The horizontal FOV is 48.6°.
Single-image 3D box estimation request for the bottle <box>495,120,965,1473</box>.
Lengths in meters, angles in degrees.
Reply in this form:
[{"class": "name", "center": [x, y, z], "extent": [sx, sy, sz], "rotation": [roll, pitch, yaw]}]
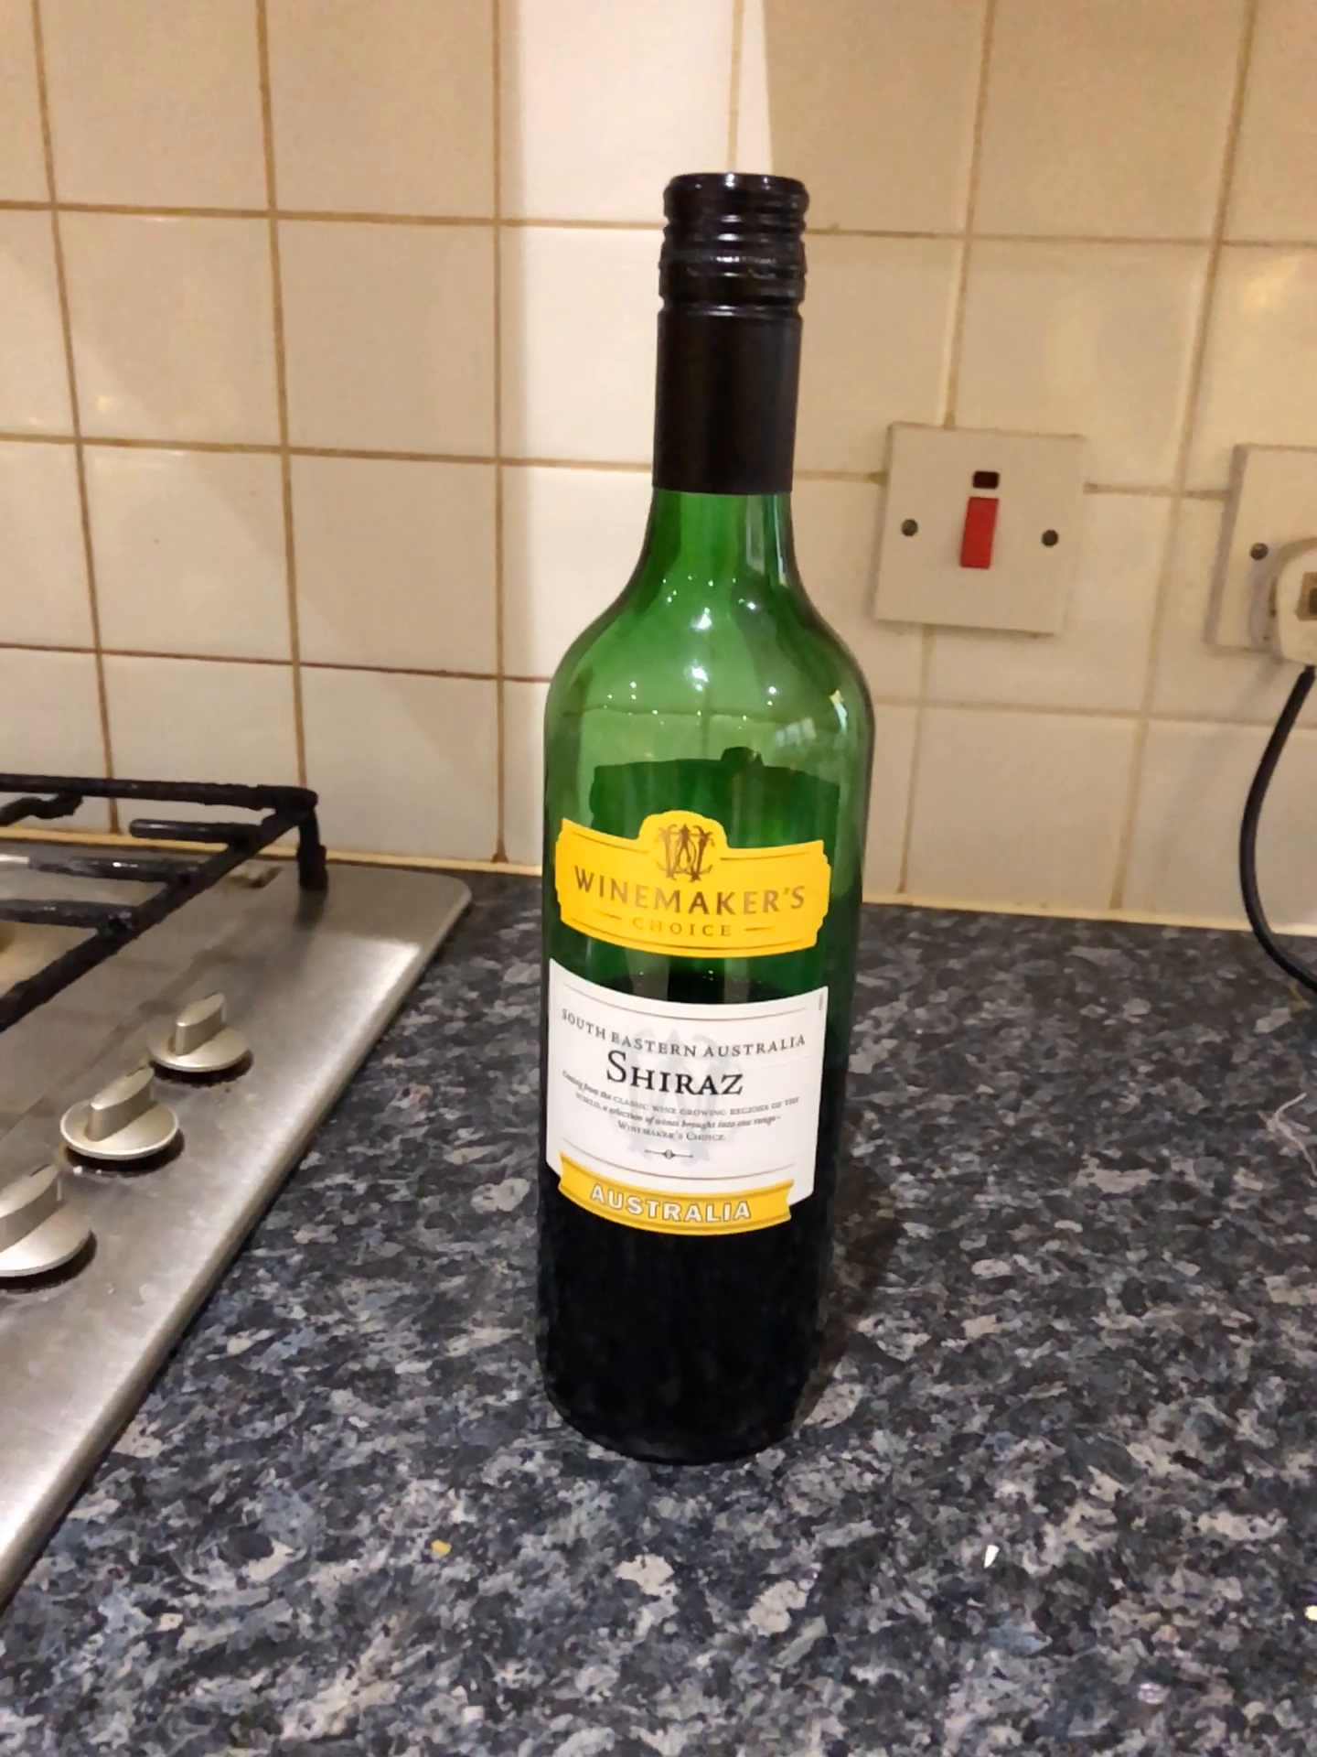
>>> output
[{"class": "bottle", "center": [0.012, -0.011, 0.332], "extent": [0.080, 0.278, 0.080], "rotation": [2, 20, -1]}]
